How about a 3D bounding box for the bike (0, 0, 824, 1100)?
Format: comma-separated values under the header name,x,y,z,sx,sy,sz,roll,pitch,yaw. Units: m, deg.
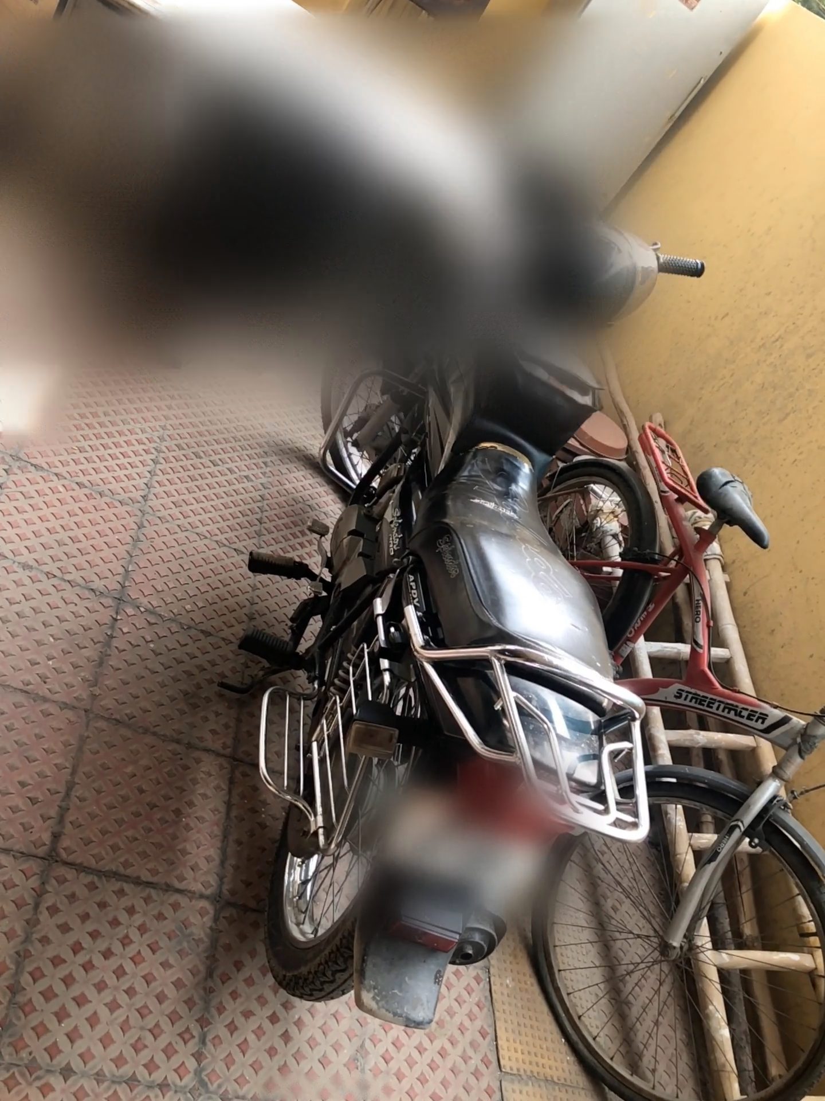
name,x,y,z,sx,sy,sz,roll,pitch,yaw
bike,-0.066,-0.149,1.649,0.713,1.028,1.622,24,36,-25
